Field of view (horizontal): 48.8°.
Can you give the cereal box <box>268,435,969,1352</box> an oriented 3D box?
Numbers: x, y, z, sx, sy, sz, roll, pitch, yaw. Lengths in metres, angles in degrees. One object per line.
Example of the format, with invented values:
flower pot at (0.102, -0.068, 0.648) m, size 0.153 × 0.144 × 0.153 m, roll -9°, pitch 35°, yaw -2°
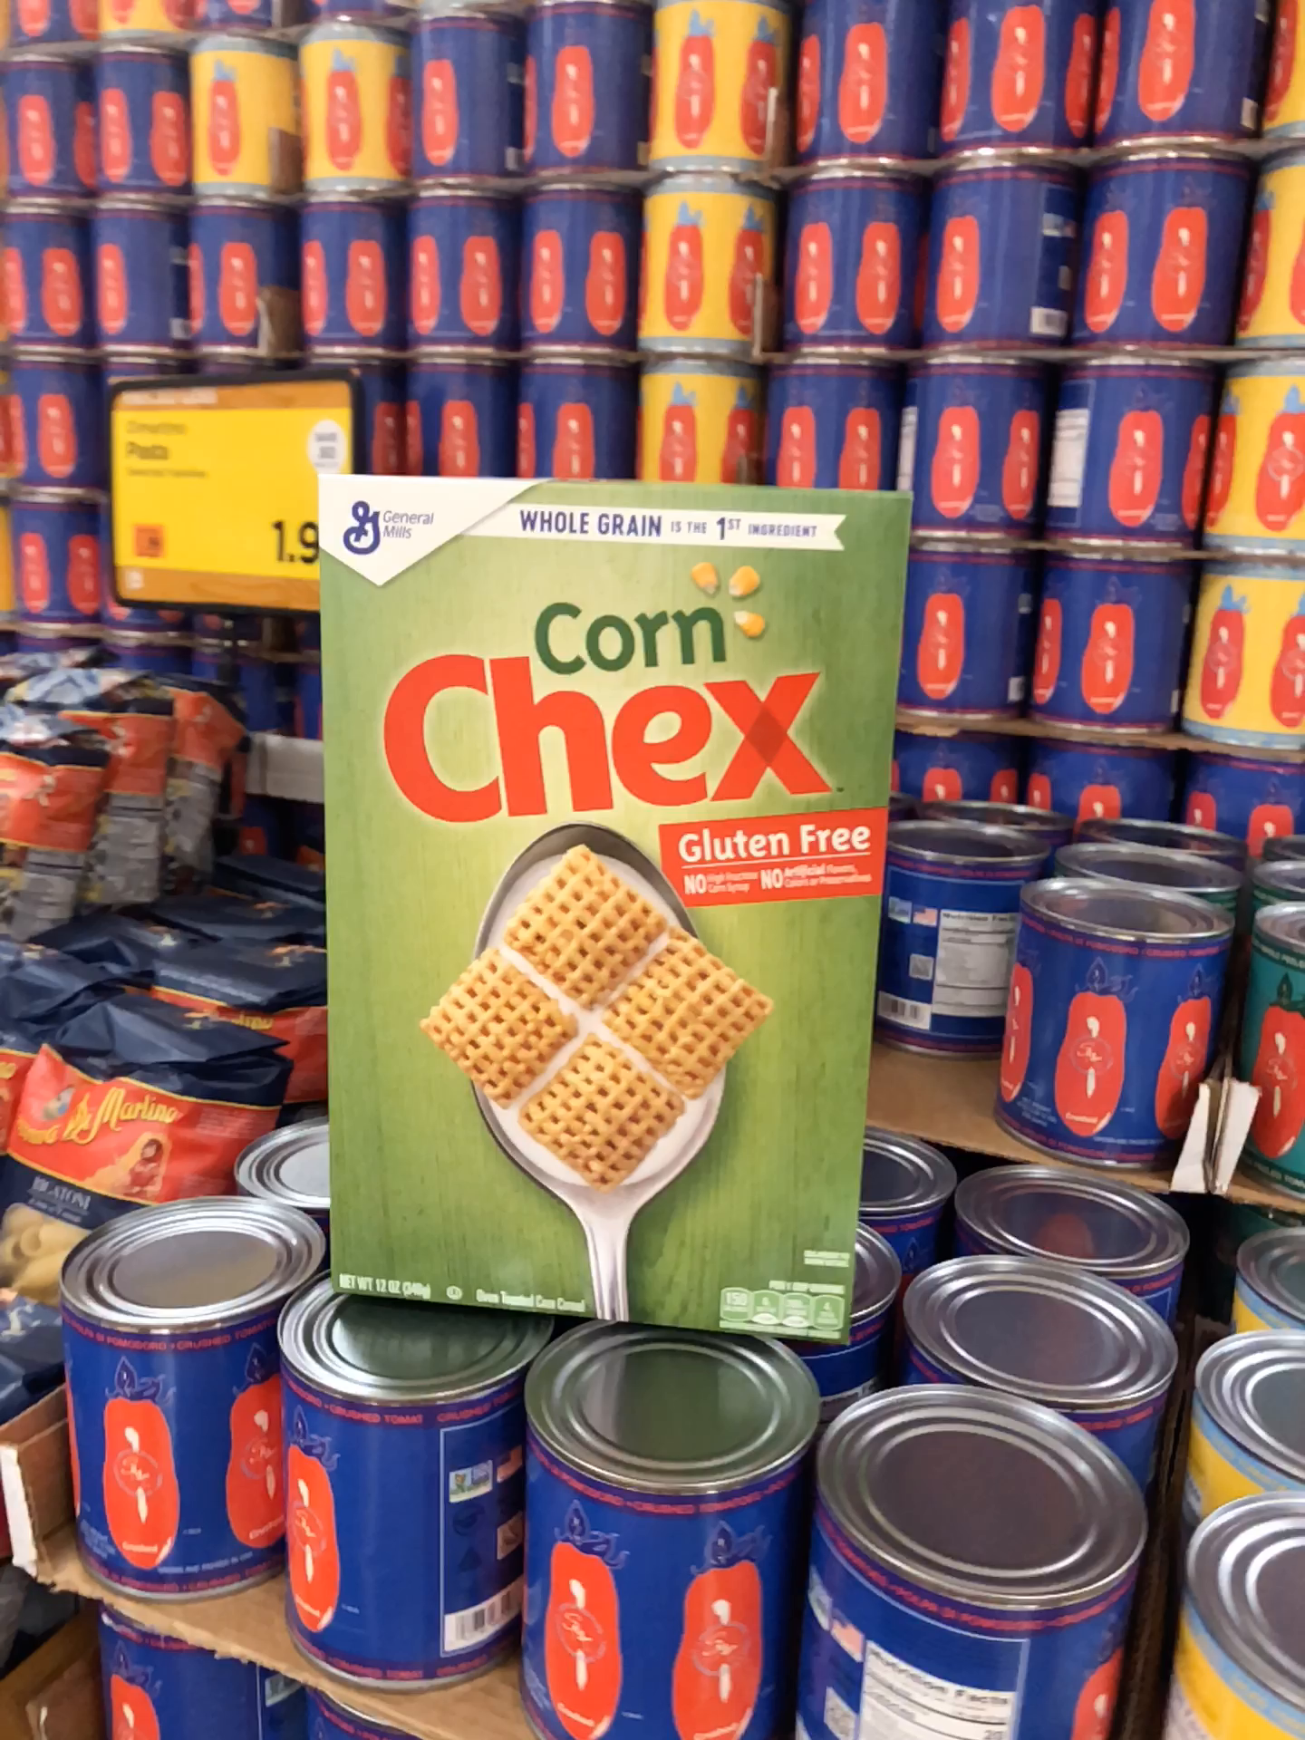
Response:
cereal box at (-0.016, 0.007, 0.508) m, size 0.220 × 0.299 × 0.060 m, roll 4°, pitch 13°, yaw 6°
